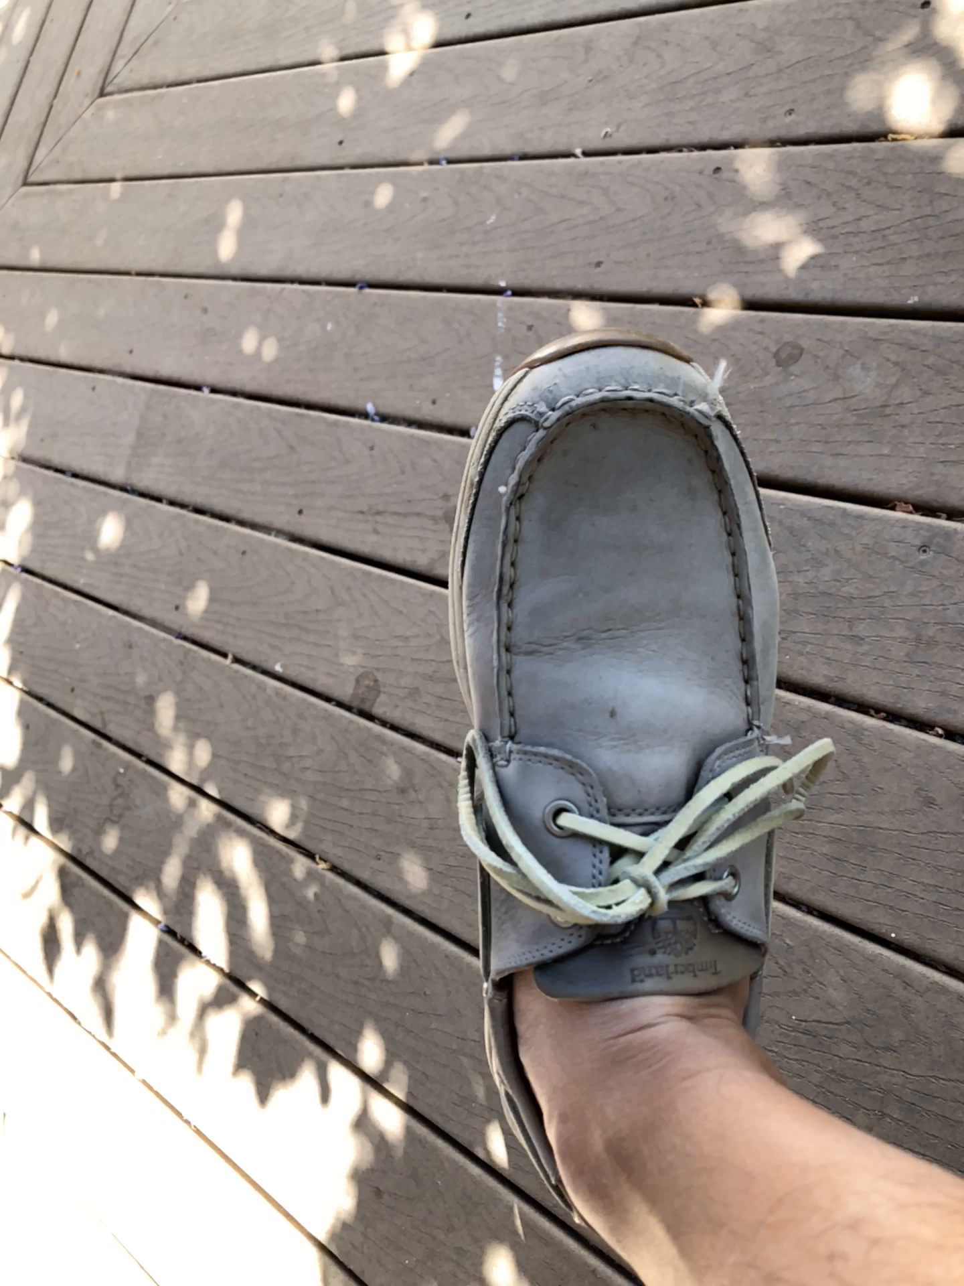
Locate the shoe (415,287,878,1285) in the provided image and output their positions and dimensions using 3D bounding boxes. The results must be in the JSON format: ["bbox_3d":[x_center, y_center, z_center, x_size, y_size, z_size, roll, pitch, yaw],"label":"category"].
[{"bbox_3d":[0.048,0.057,0.355,0.083,0.116,0.326,-143,50,-72],"label":"shoe"}]
